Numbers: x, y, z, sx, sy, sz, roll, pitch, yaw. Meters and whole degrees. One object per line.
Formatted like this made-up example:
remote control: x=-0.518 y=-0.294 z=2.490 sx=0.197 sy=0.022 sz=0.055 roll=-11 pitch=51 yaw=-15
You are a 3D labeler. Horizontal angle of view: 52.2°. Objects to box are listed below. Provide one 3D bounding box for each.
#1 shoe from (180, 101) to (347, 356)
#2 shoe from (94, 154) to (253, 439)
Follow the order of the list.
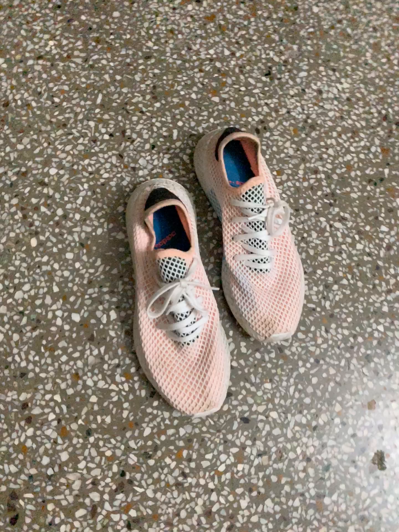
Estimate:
shoe: x=0.072 y=-0.049 z=0.552 sx=0.122 sy=0.100 sz=0.310 roll=-13 pitch=78 yaw=-8
shoe: x=-0.039 y=0.033 z=0.511 sx=0.122 sy=0.100 sz=0.310 roll=-11 pitch=78 yaw=-8
